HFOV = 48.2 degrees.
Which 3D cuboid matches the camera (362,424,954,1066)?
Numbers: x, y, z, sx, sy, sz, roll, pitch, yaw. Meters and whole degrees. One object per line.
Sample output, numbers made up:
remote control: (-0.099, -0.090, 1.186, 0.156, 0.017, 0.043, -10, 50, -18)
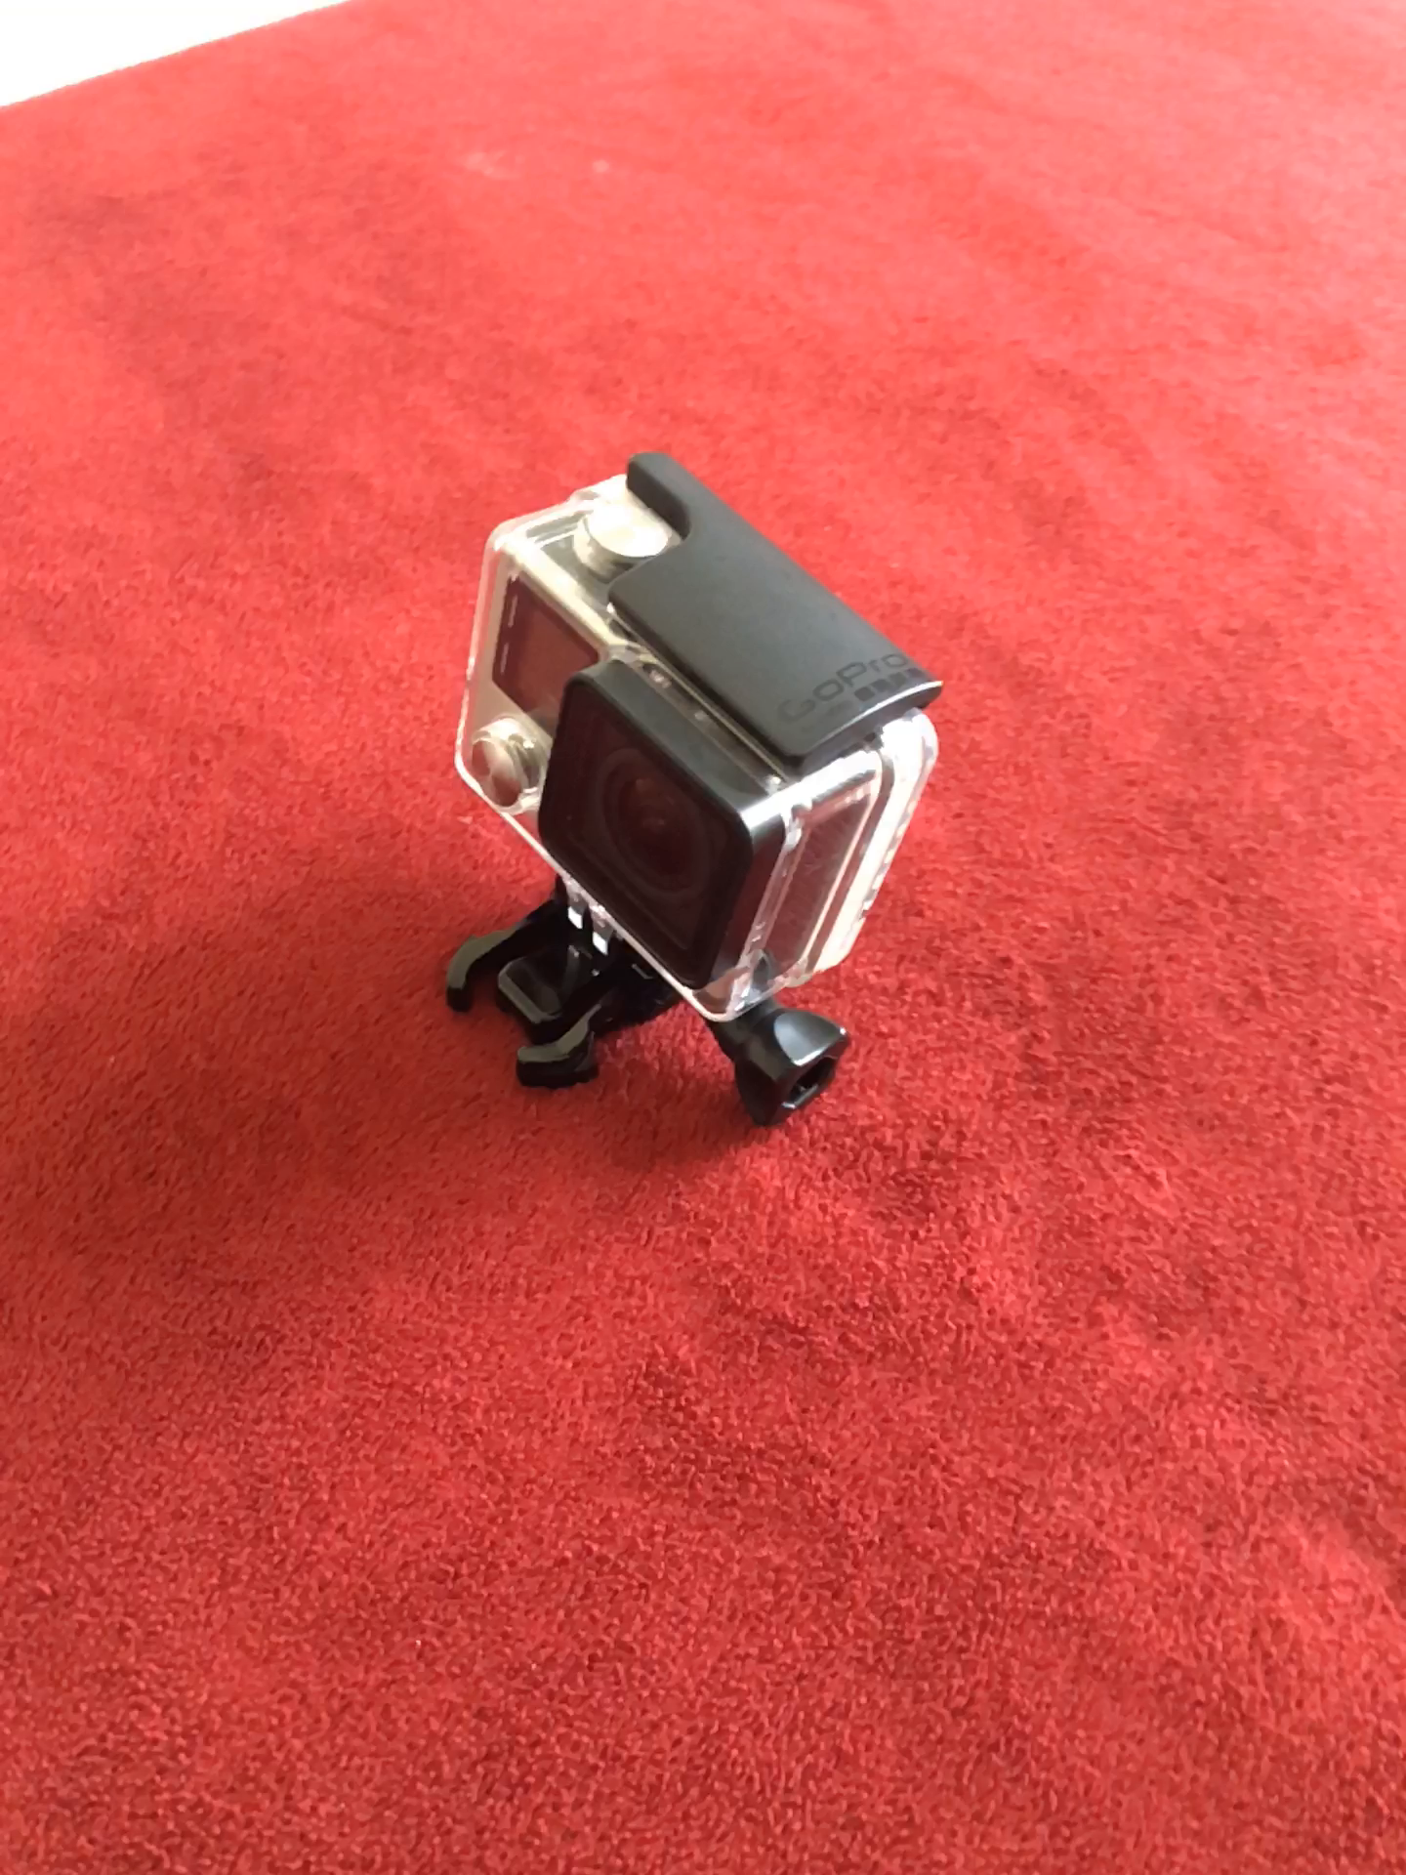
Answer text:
camera: (-0.010, -0.029, 0.225, 0.040, 0.050, 0.073, -30, 59, -35)
